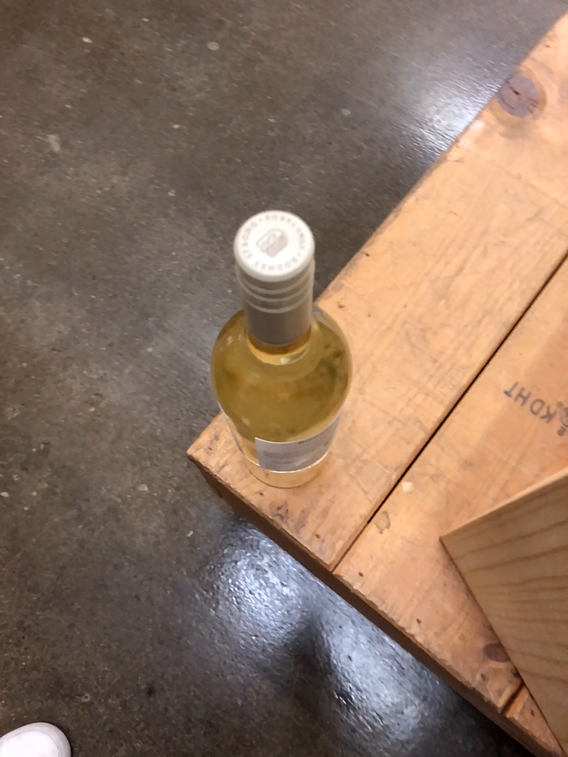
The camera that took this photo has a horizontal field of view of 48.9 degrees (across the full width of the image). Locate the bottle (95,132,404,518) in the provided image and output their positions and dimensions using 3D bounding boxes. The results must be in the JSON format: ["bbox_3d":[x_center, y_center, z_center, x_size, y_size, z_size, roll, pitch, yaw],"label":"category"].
[{"bbox_3d":[-0.006,0.006,0.350,0.079,0.284,0.073,-1,70,2],"label":"bottle"}]
